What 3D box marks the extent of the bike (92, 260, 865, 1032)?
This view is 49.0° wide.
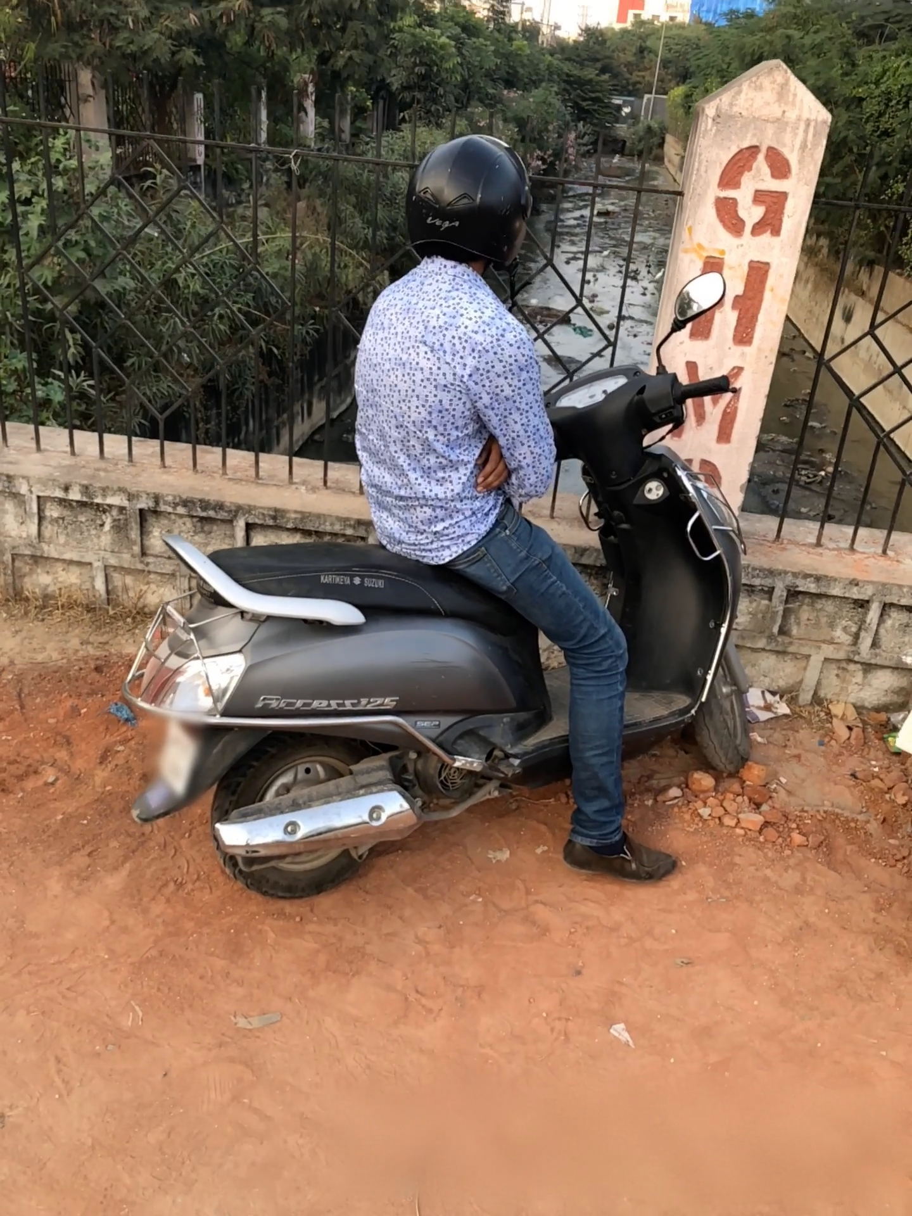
[{"bbox_3d":[0.071,-0.073,2.496,1.582,1.216,0.799,-20,36,-36],"label":"bike"}]
